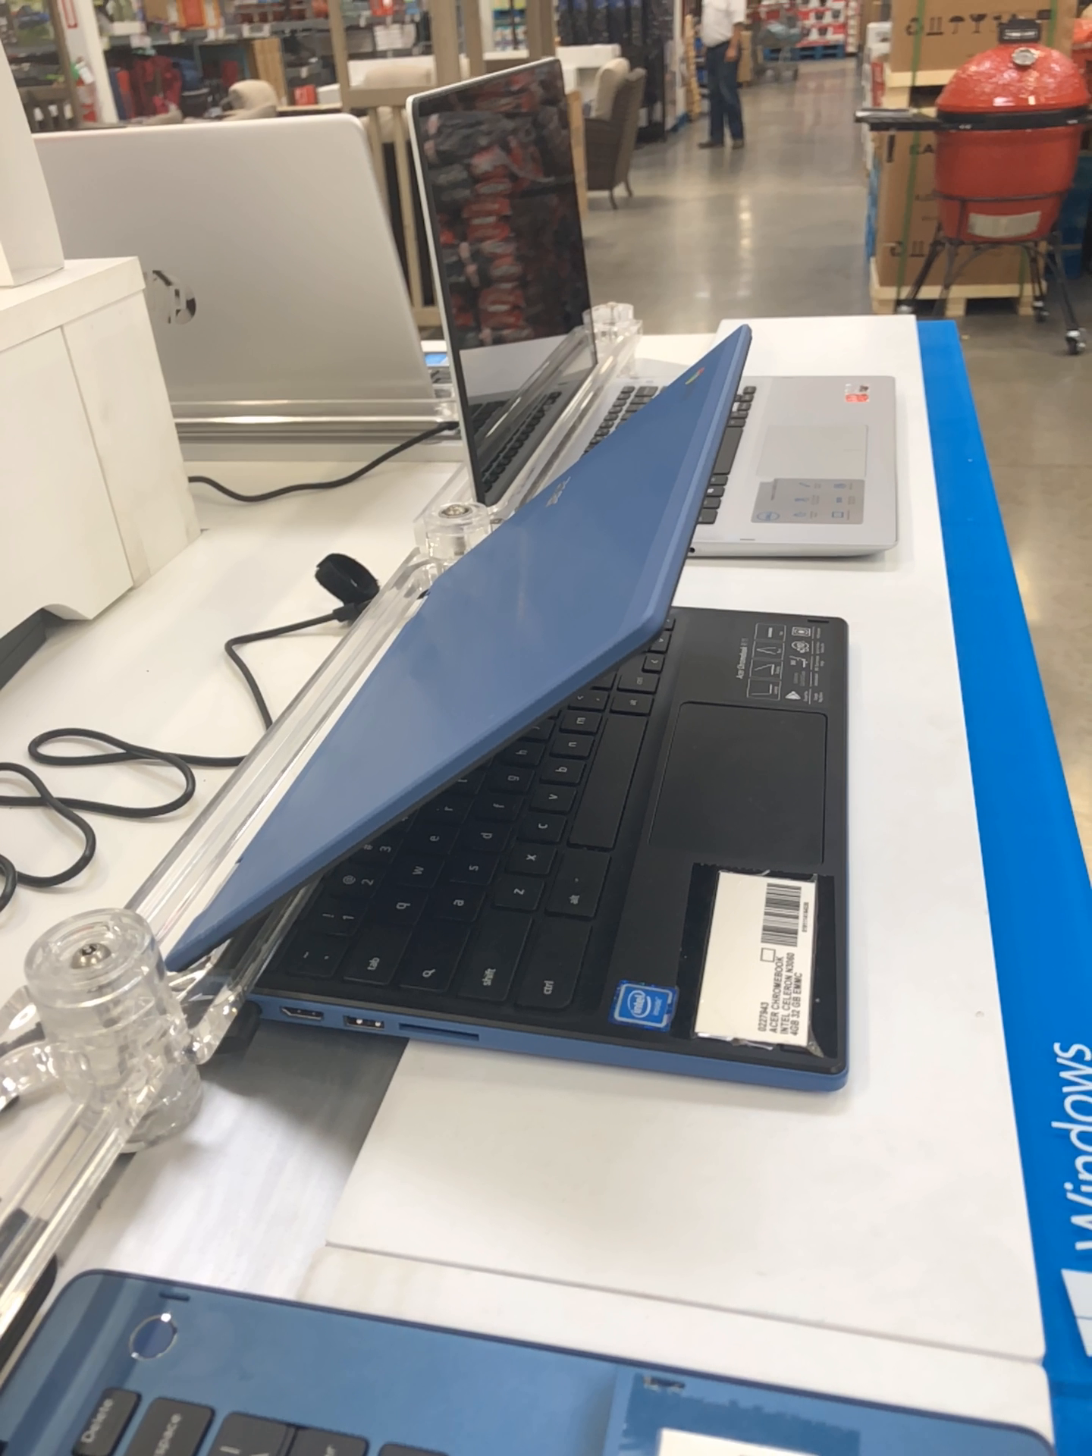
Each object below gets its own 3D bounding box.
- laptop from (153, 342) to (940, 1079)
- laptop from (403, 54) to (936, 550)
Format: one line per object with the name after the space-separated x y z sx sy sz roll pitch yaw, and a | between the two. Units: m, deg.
0.023 -0.038 0.427 0.184 0.128 0.281 3 31 10 | laptop
0.098 -0.289 0.755 0.245 0.216 0.357 4 32 12 | laptop
